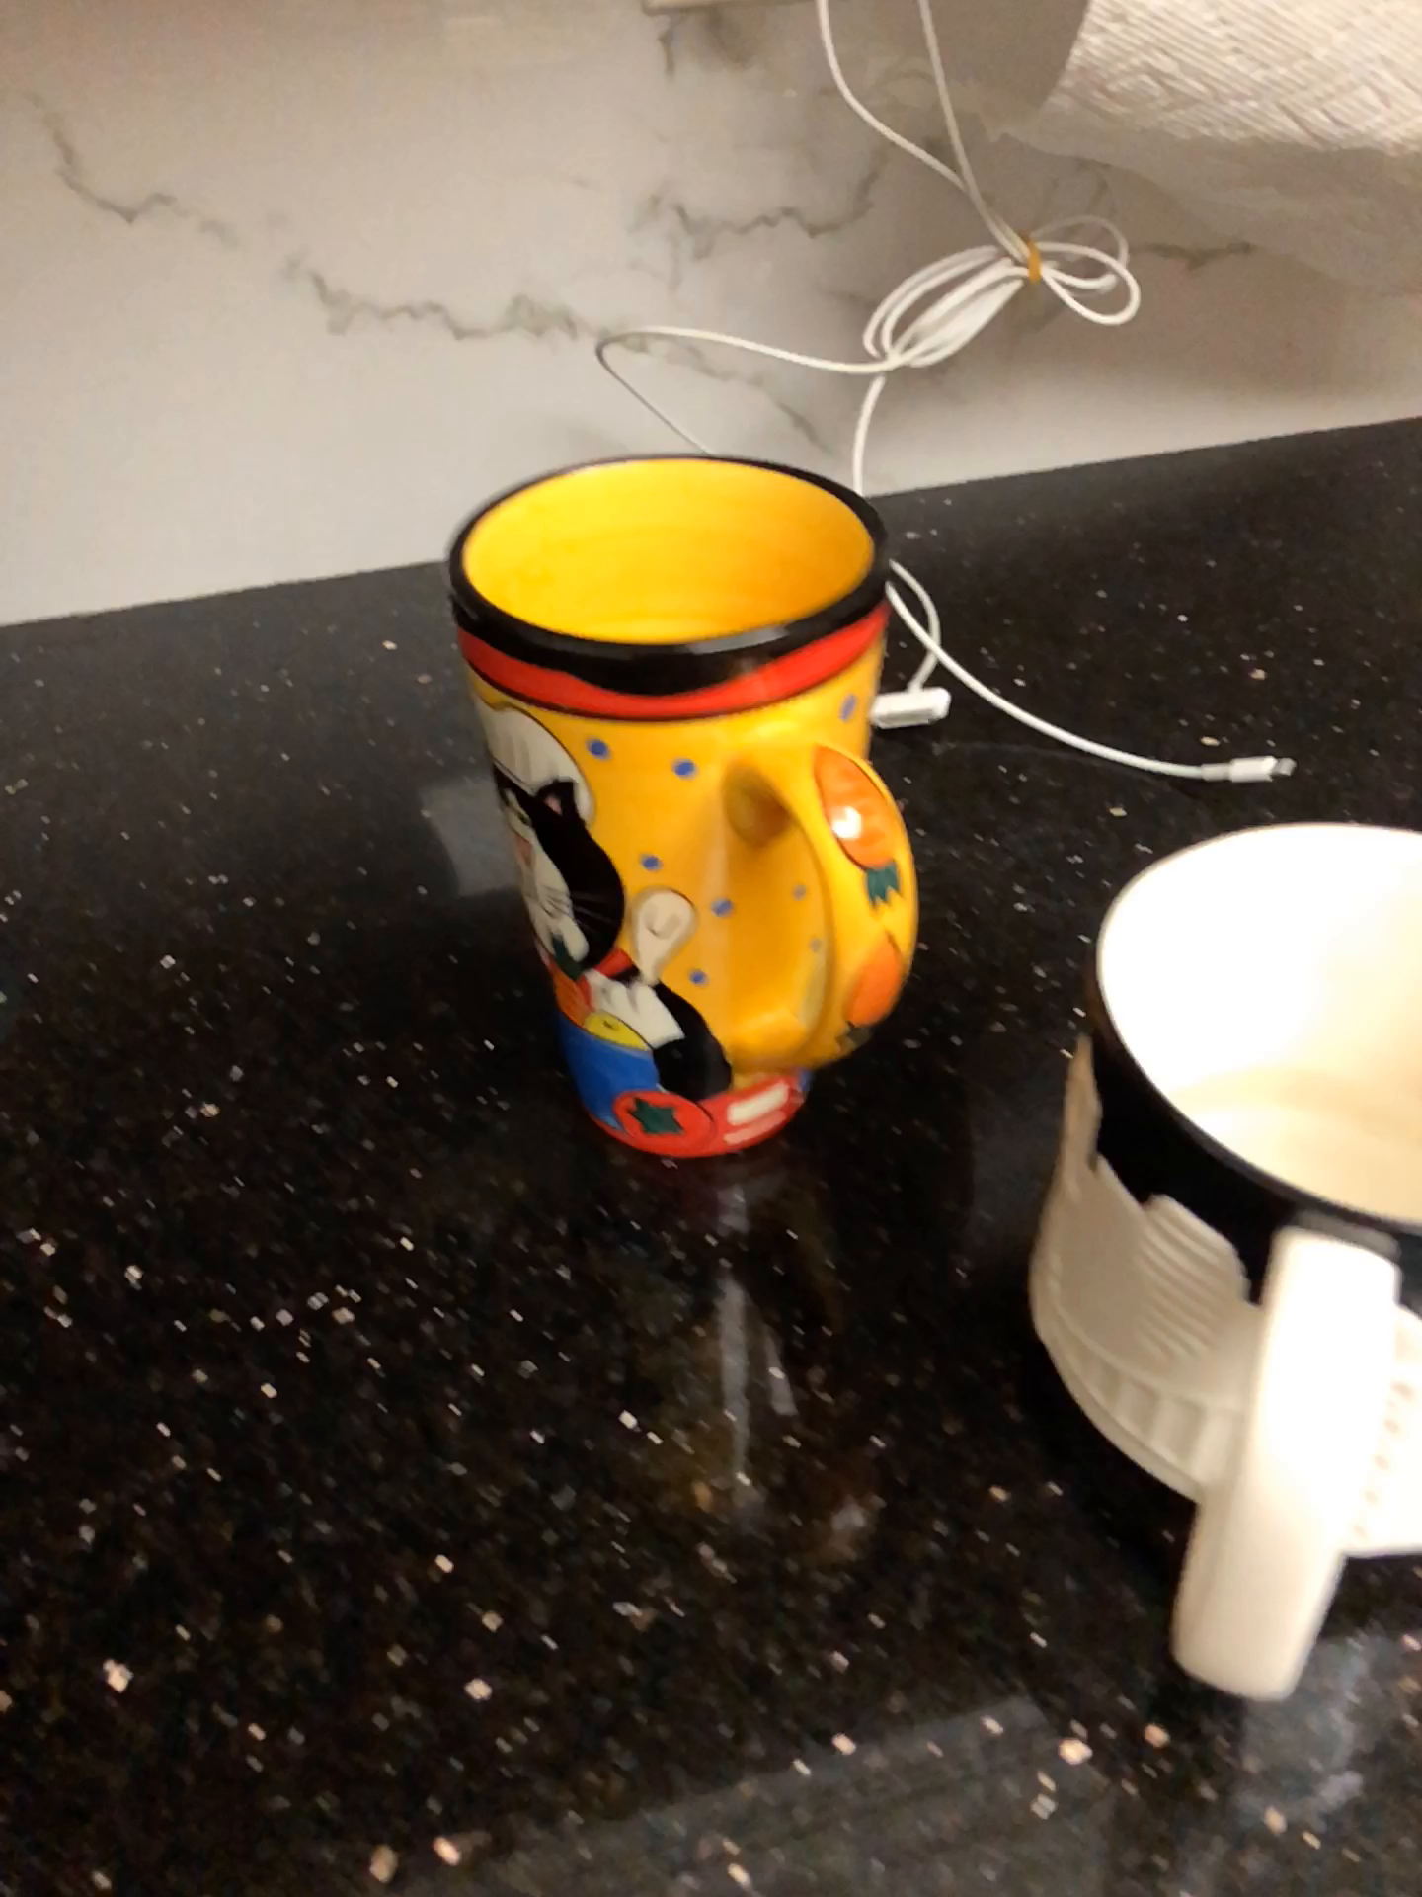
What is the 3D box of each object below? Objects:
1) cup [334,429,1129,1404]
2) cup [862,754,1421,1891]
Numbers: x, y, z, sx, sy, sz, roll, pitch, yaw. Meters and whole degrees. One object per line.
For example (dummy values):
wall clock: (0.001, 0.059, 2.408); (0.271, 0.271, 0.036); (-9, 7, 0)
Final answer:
cup: (0.001, -0.012, 0.346); (0.090, 0.149, 0.130); (-27, 45, -28)
cup: (0.108, 0.058, 0.298); (0.100, 0.109, 0.151); (18, 43, 24)
